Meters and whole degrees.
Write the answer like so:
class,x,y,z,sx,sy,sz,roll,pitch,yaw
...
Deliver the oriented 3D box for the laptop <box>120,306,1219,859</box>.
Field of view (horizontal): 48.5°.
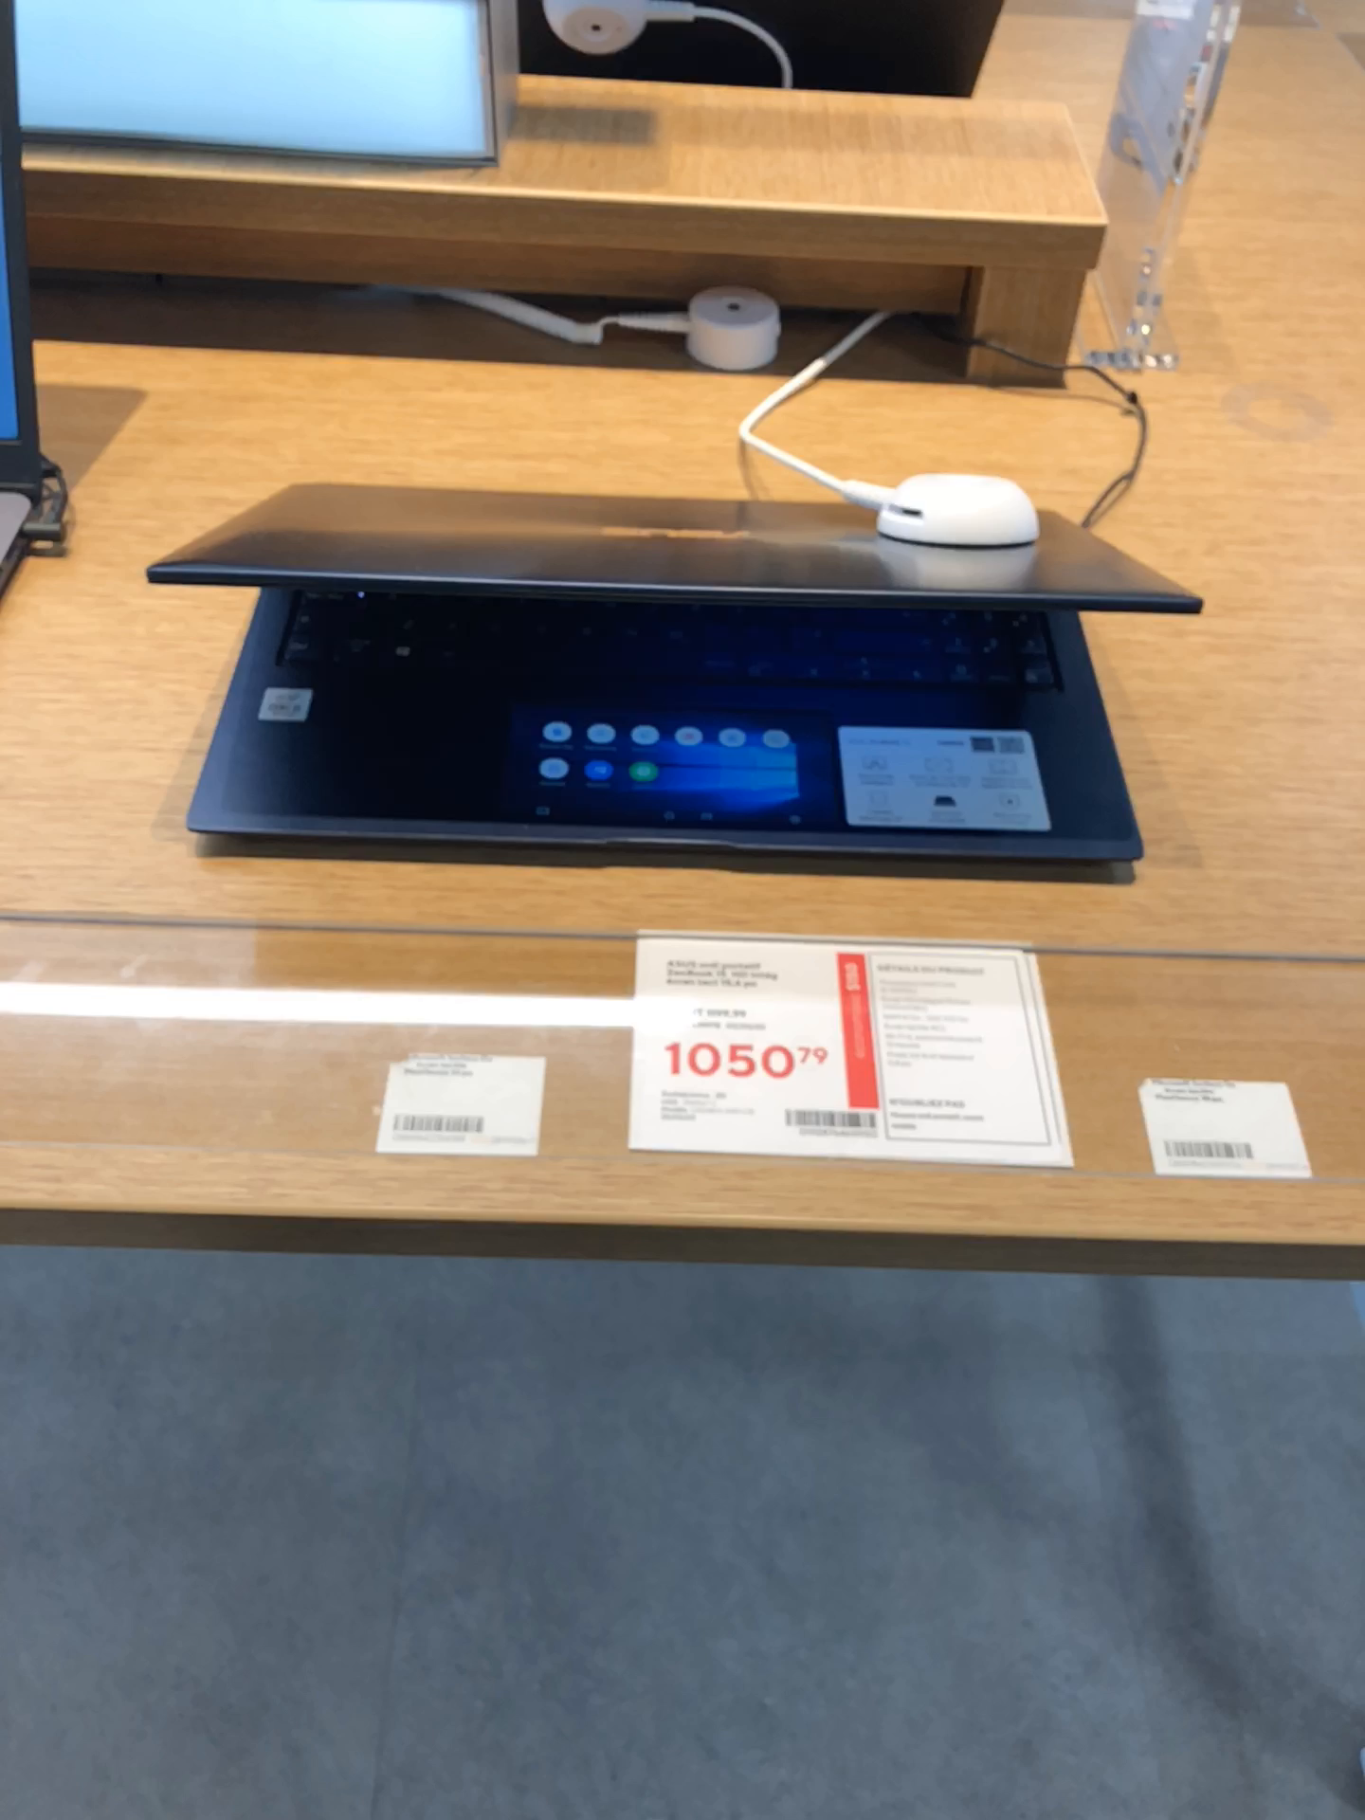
class,x,y,z,sx,sy,sz,roll,pitch,yaw
laptop,-0.001,-0.133,0.592,0.352,0.098,0.209,2,47,-3
